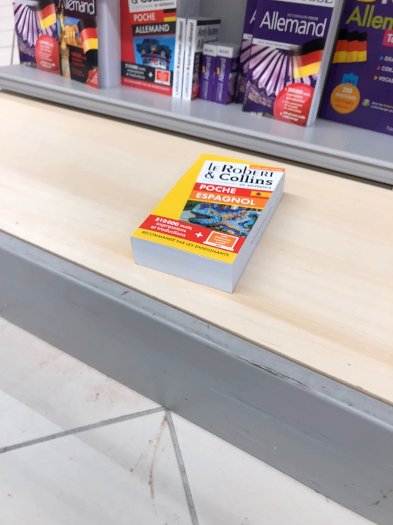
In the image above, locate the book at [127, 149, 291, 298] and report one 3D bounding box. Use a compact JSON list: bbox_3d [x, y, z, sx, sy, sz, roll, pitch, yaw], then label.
[{"bbox_3d":[0.022,-0.053,0.472,0.110,0.040,0.181,17,46,18],"label":"book"}]
